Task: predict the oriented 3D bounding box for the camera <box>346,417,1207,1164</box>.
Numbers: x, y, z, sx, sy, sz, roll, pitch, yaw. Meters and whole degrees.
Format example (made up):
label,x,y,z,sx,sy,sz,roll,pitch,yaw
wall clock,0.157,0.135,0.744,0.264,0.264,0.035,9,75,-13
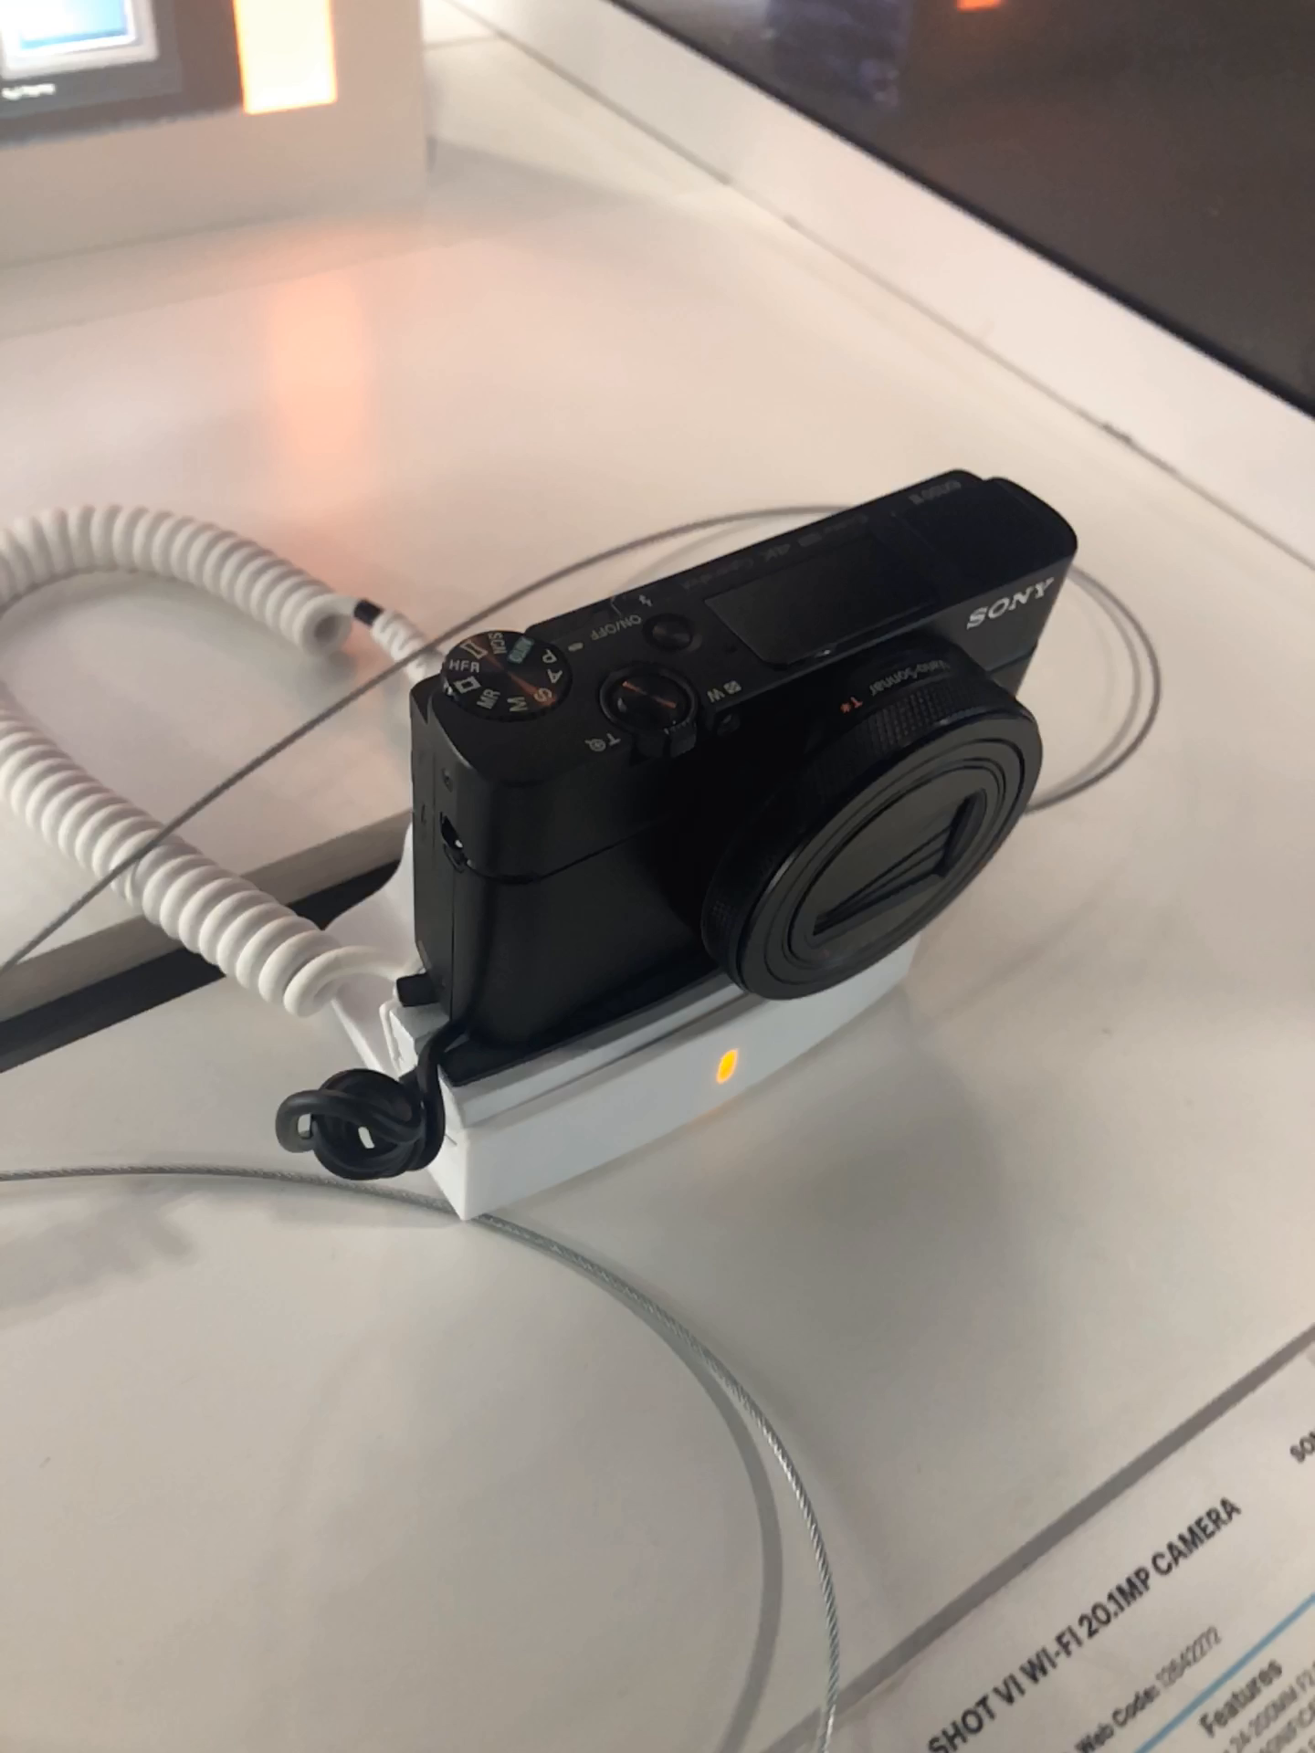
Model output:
label,x,y,z,sx,sy,sz,roll,pitch,yaw
camera,0.017,-0.015,0.207,0.109,0.060,0.040,-25,55,-26
